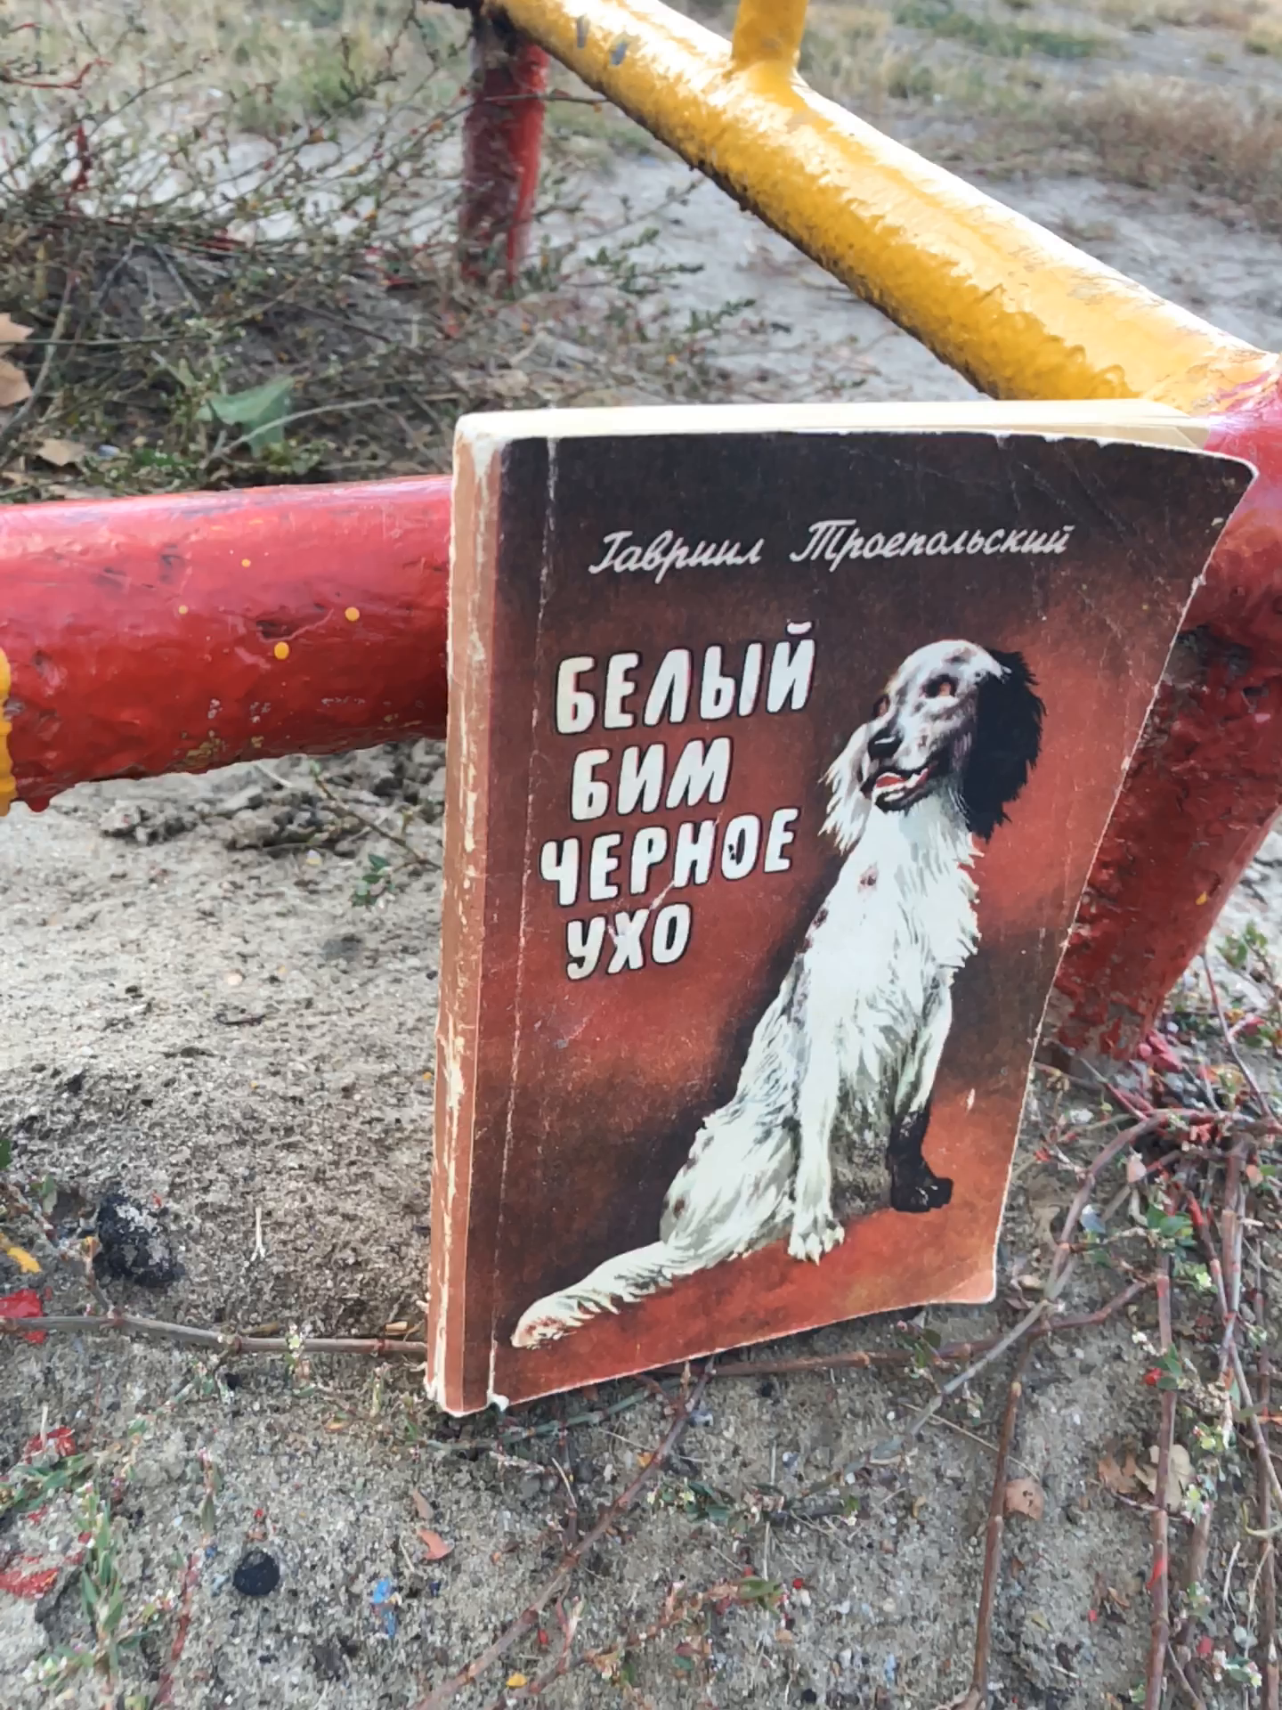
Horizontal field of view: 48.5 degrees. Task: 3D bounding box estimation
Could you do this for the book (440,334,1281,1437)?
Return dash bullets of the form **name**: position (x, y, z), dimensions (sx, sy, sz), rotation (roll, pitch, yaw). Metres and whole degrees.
- **book**: position (0.033, 0.013, 0.253), dimensions (0.130, 0.196, 0.030), rotation (-7, 35, -20)
